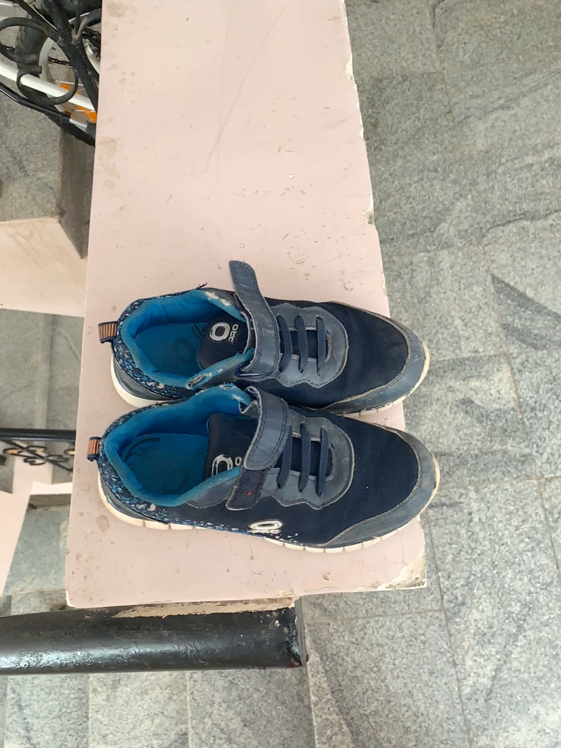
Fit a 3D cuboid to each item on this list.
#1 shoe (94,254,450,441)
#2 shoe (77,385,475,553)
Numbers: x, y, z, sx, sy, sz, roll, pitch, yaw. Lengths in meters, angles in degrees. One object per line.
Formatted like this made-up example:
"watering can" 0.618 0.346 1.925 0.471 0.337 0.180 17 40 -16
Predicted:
"shoe" -0.006 -0.015 0.410 0.220 0.080 0.100 -2 70 3
"shoe" -0.001 0.063 0.370 0.220 0.080 0.090 0 70 4
